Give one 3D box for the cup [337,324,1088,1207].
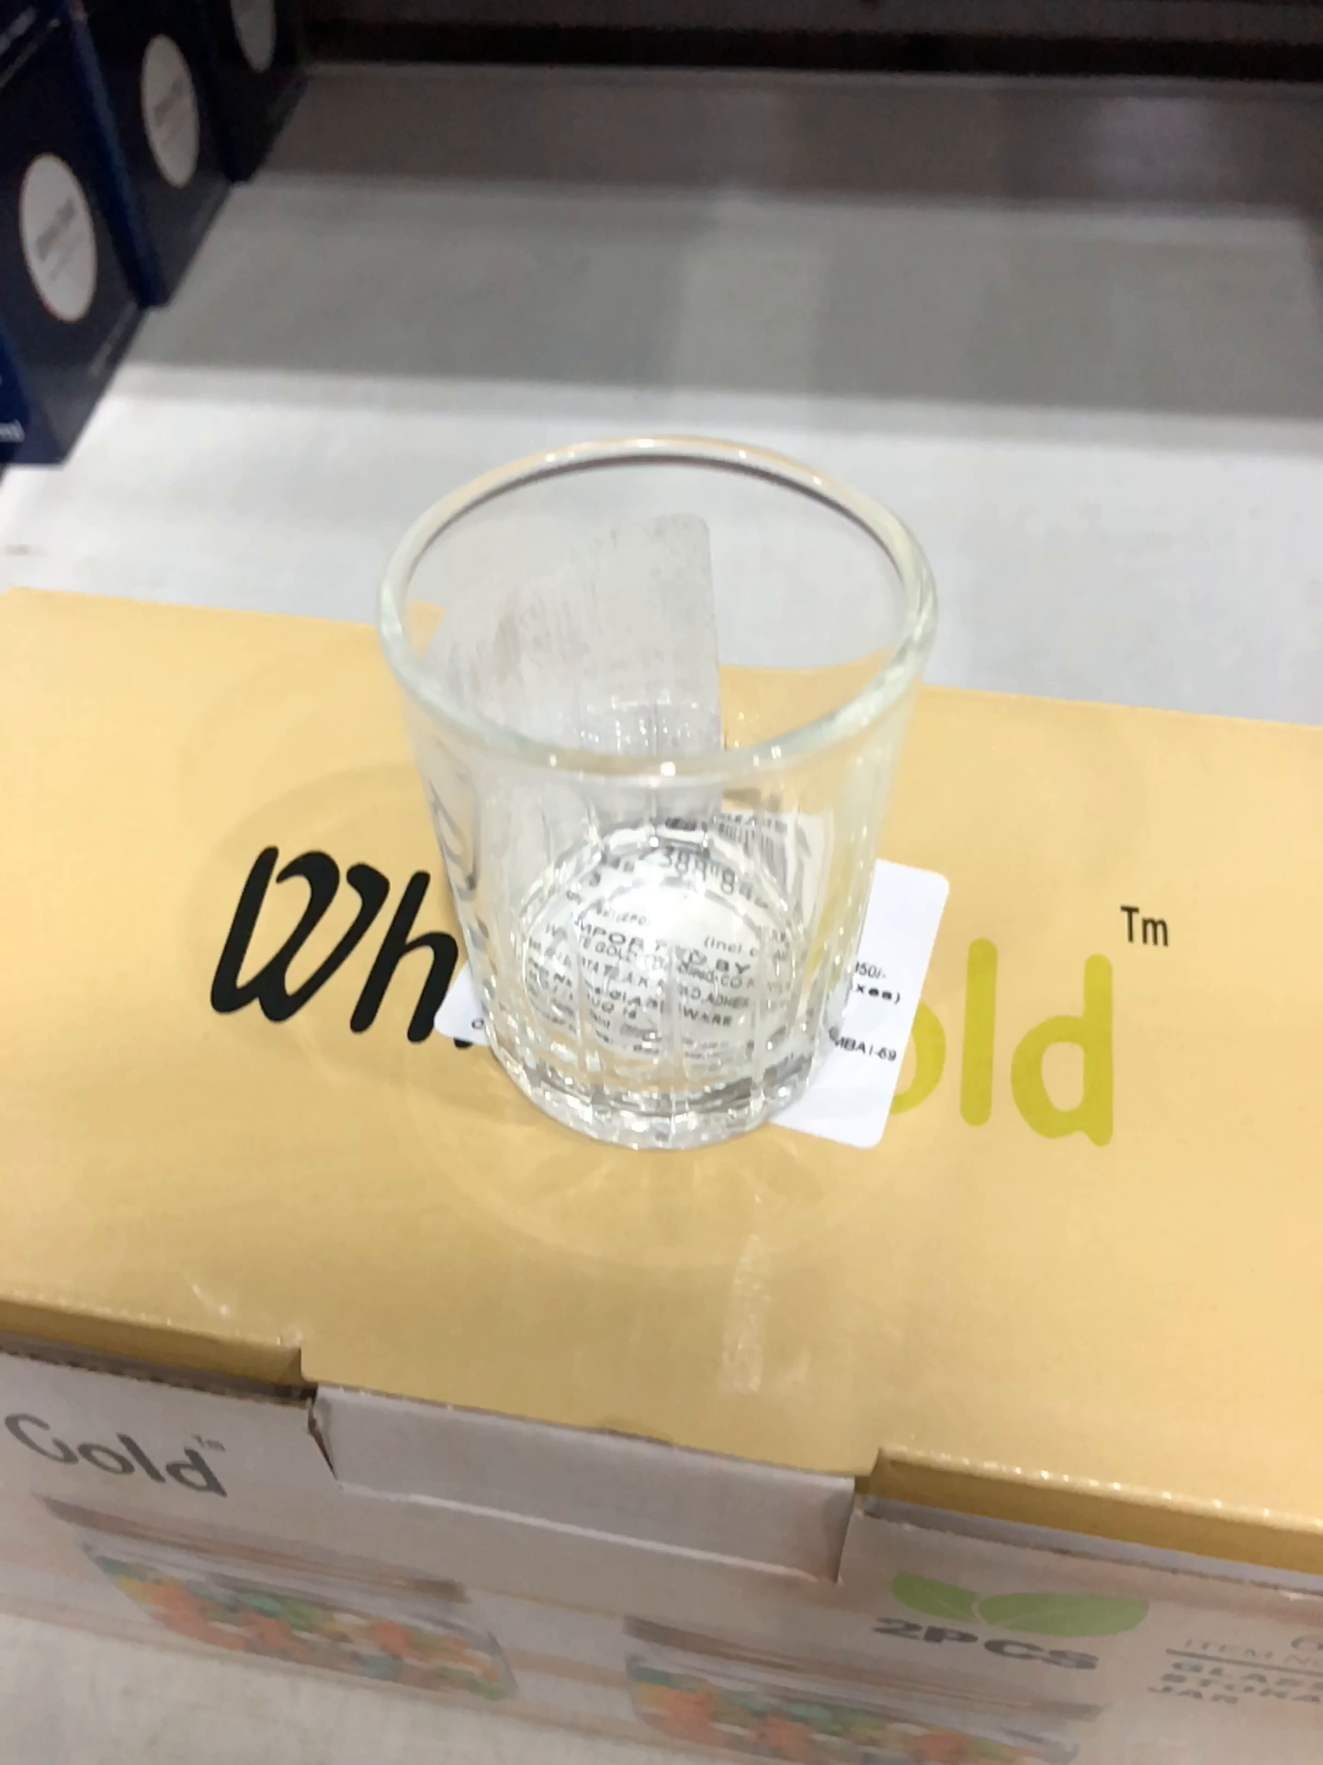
[{"bbox_3d":[0.002,-0.009,0.139,0.050,0.060,0.050,-1,50,1],"label":"cup"}]
